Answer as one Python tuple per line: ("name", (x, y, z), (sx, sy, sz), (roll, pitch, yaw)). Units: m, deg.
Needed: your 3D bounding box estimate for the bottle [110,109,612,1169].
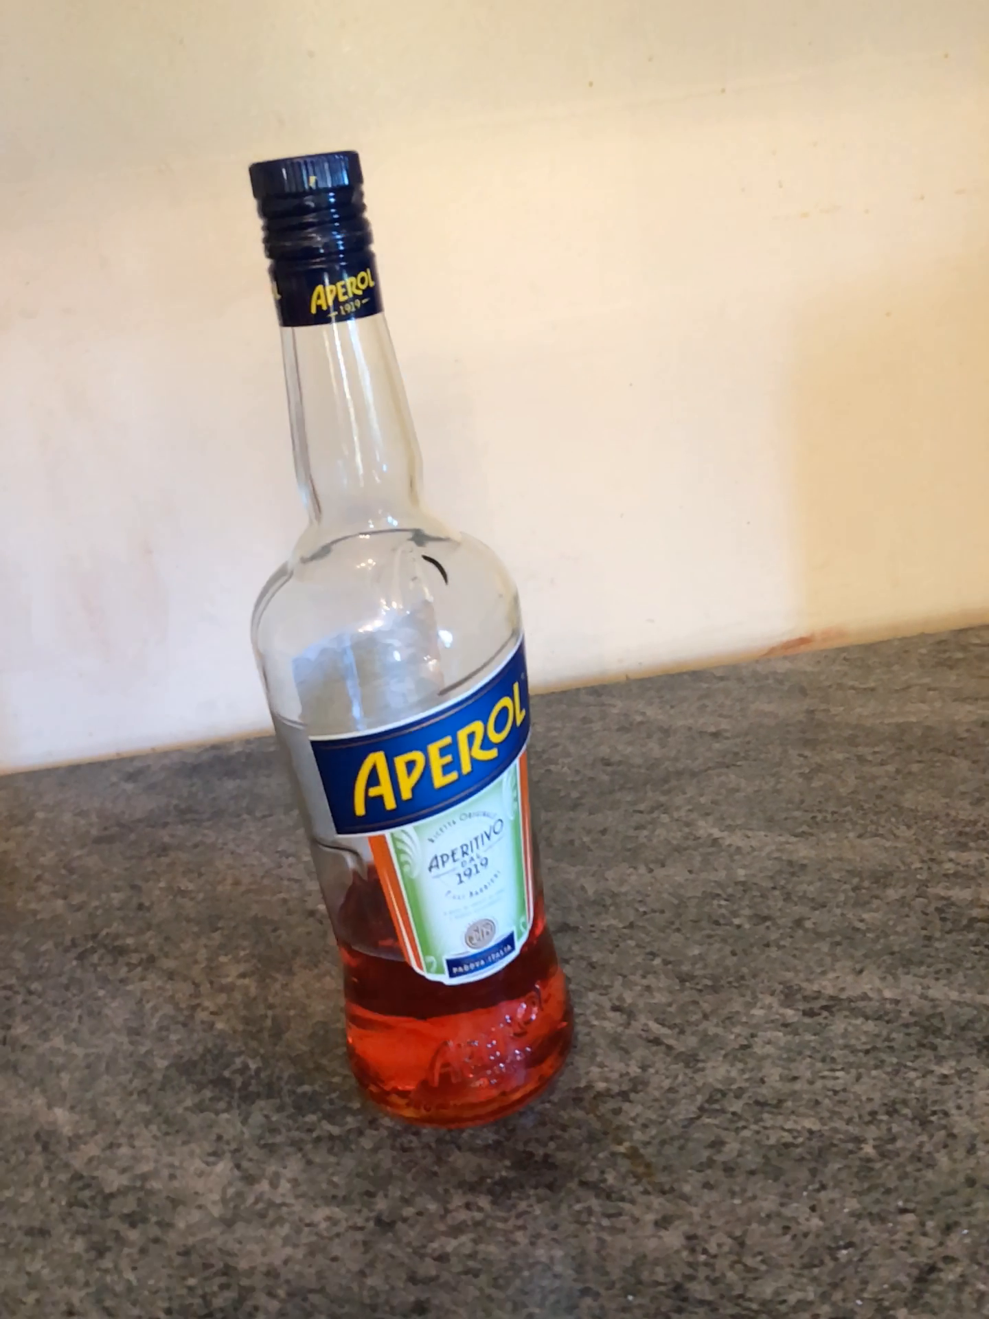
("bottle", (-0.036, 0.003, 0.373), (0.090, 0.328, 0.090), (-7, 23, 3))
